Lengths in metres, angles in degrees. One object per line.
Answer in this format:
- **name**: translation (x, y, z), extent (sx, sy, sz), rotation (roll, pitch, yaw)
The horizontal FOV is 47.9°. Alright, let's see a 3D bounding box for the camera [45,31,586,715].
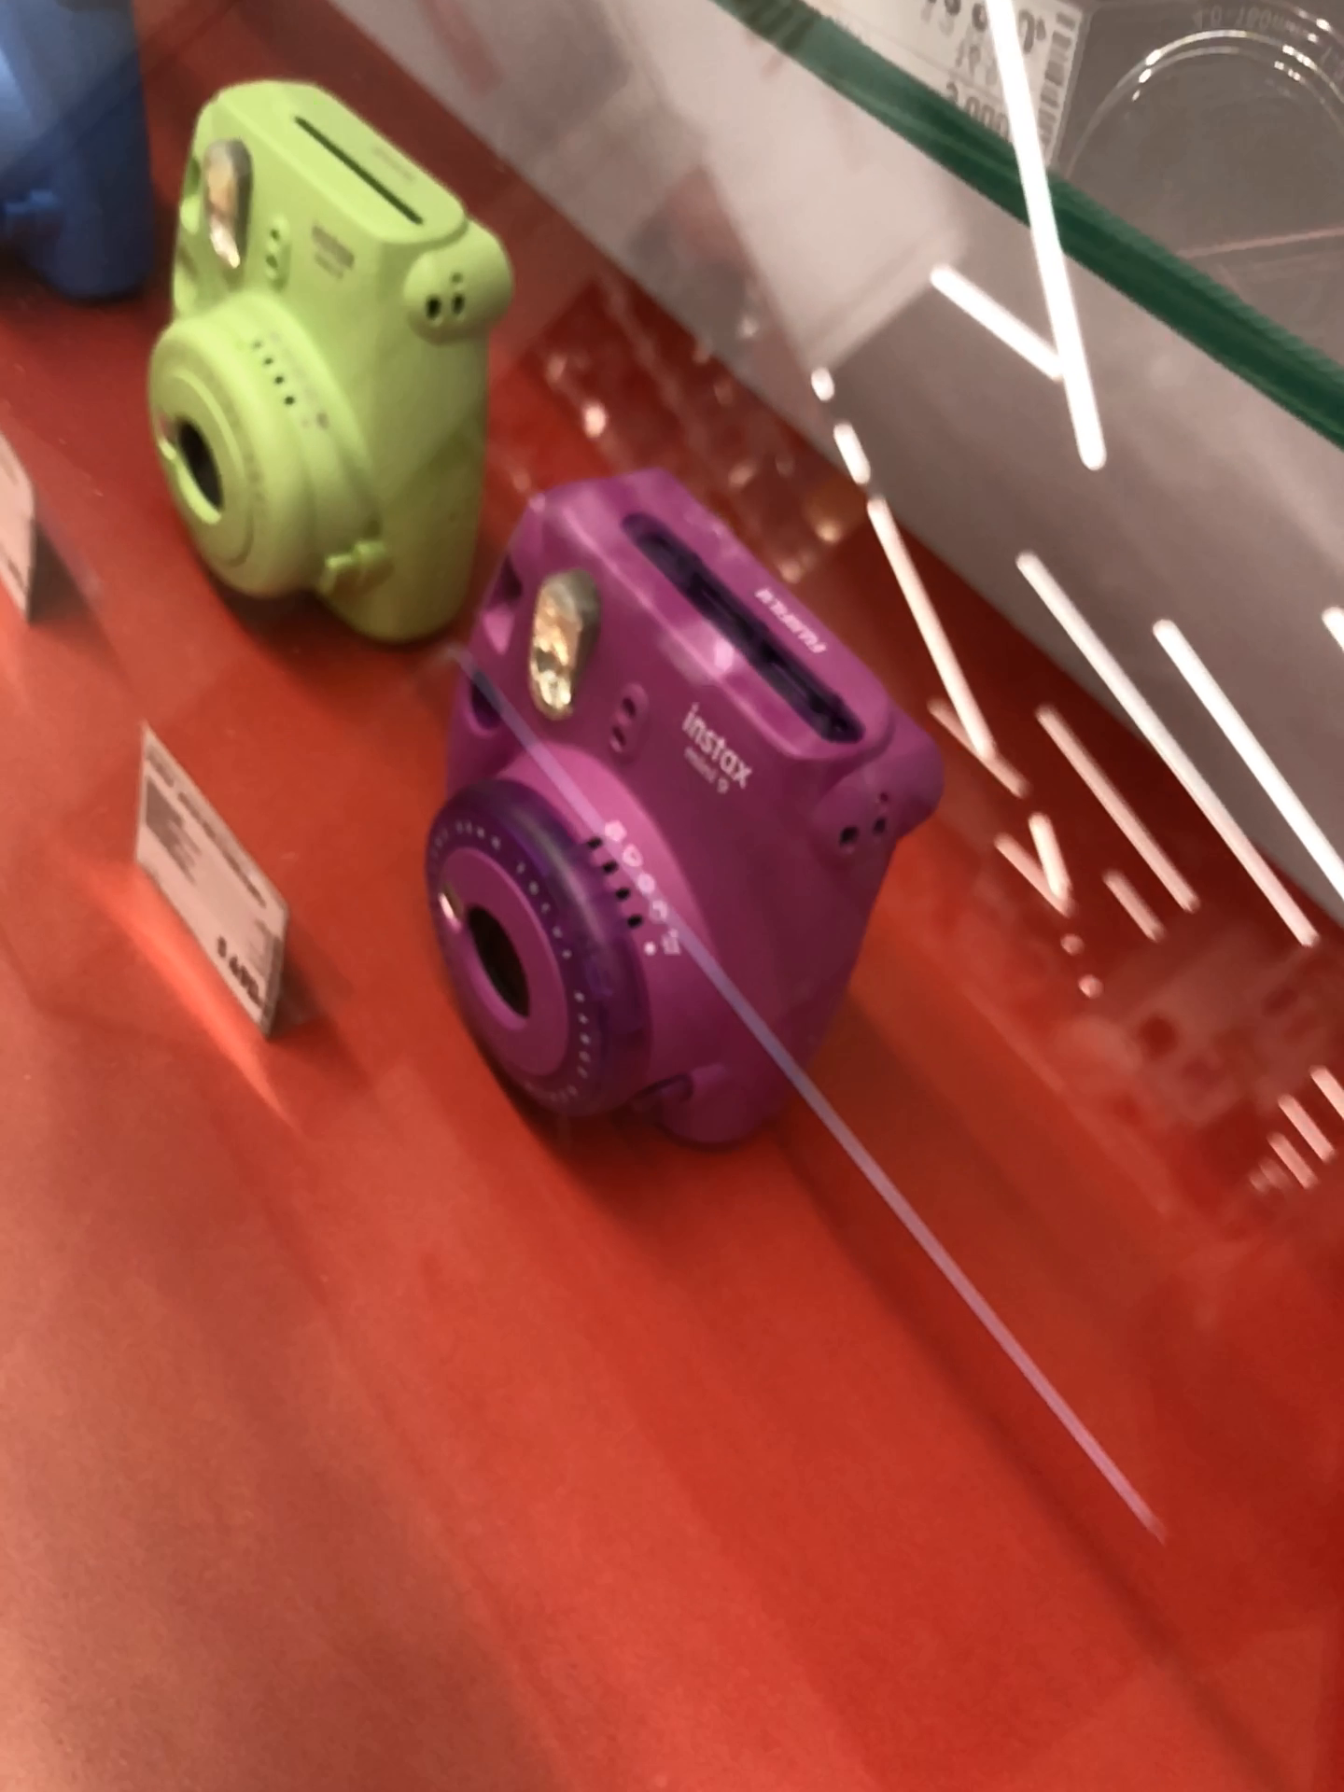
- **camera**: translation (-0.101, -0.146, 0.419), extent (0.073, 0.118, 0.135), rotation (-26, 60, -32)

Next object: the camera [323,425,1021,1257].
- **camera**: translation (-0.011, -0.013, 0.310), extent (0.073, 0.103, 0.117), rotation (-21, 57, -29)
